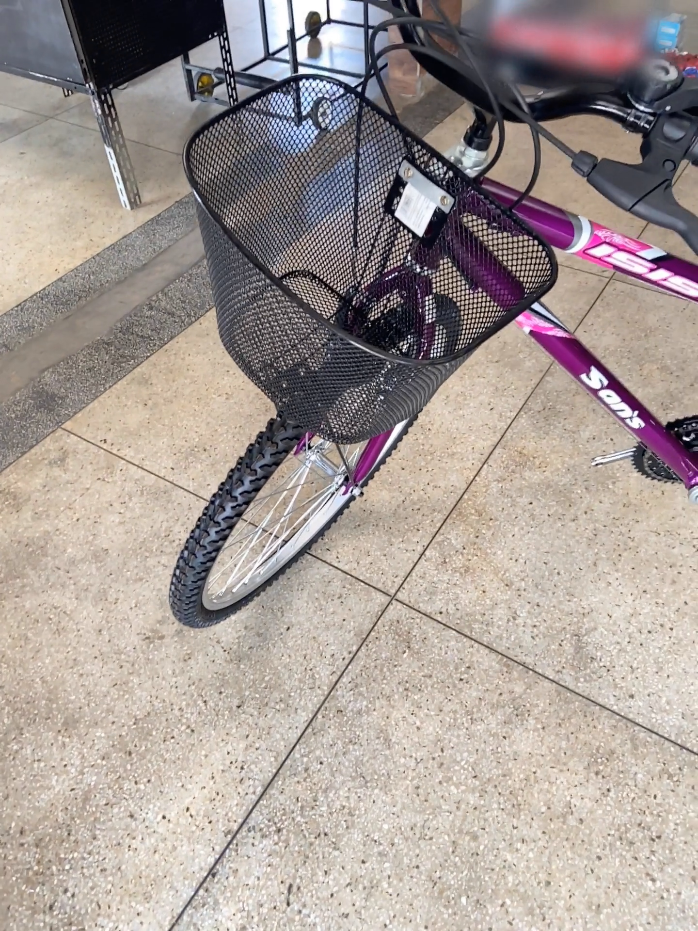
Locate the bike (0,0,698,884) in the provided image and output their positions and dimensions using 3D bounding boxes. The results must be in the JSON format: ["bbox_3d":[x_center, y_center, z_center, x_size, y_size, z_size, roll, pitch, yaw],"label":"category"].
[{"bbox_3d":[0.544,-0.078,0.829,1.522,1.034,0.576,-6,47,-5],"label":"bike"}]
